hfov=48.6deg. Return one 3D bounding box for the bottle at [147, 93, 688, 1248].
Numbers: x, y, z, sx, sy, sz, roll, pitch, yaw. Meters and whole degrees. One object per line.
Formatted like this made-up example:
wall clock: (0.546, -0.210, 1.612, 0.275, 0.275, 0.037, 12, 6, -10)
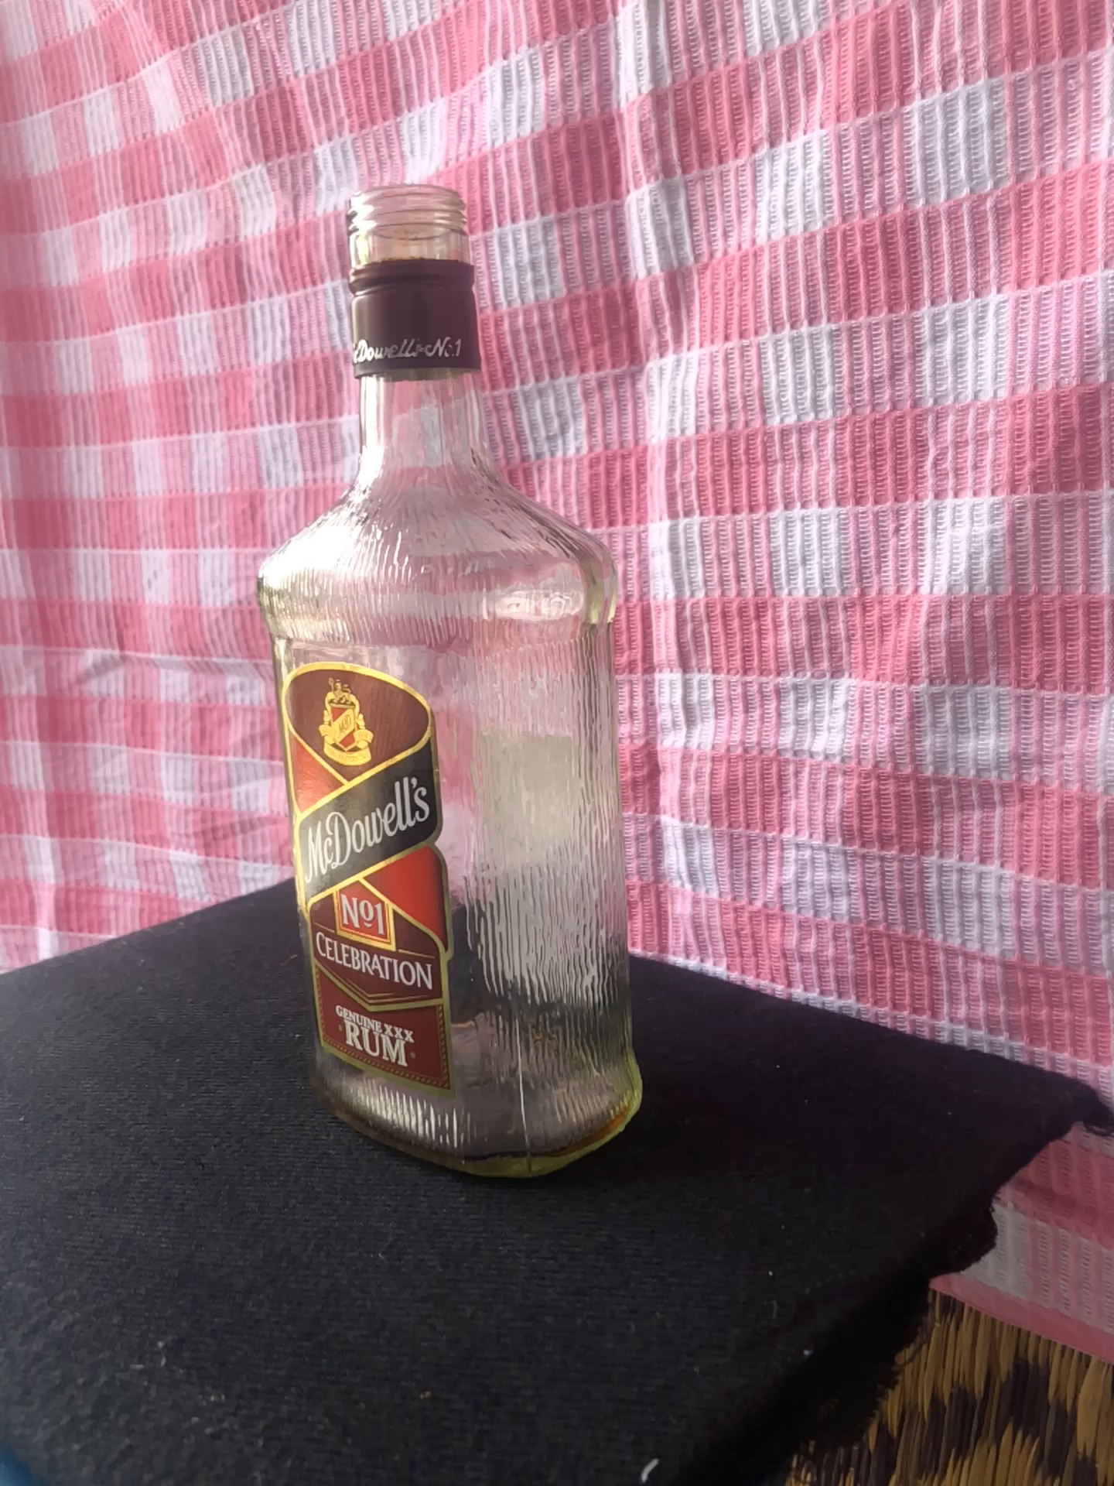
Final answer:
bottle: (-0.031, -0.014, 0.306, 0.100, 0.239, 0.060, 7, 17, 39)
